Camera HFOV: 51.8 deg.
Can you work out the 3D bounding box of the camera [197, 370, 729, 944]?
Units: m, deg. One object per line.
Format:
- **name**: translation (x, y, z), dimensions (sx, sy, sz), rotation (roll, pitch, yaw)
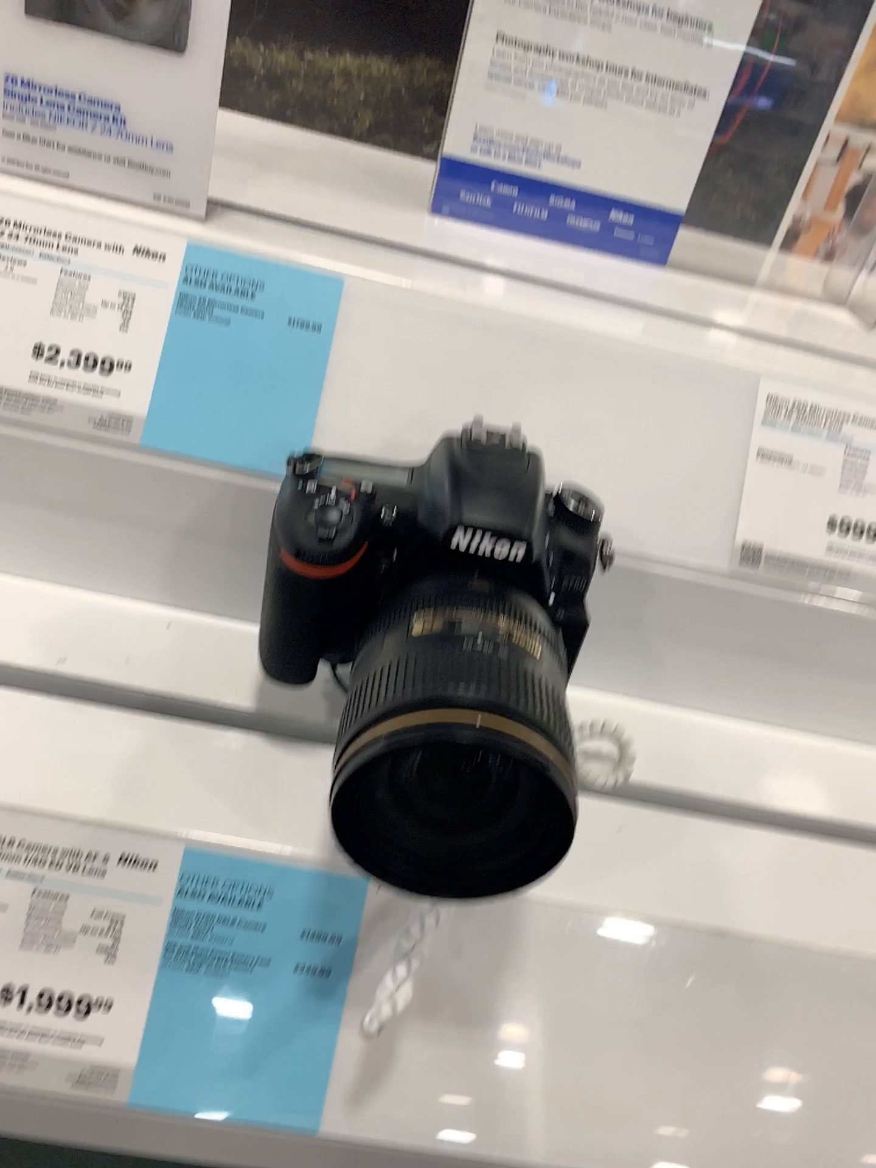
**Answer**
- **camera**: translation (-0.002, 0.018, 0.346), dimensions (0.140, 0.111, 0.181), rotation (8, 35, -9)
